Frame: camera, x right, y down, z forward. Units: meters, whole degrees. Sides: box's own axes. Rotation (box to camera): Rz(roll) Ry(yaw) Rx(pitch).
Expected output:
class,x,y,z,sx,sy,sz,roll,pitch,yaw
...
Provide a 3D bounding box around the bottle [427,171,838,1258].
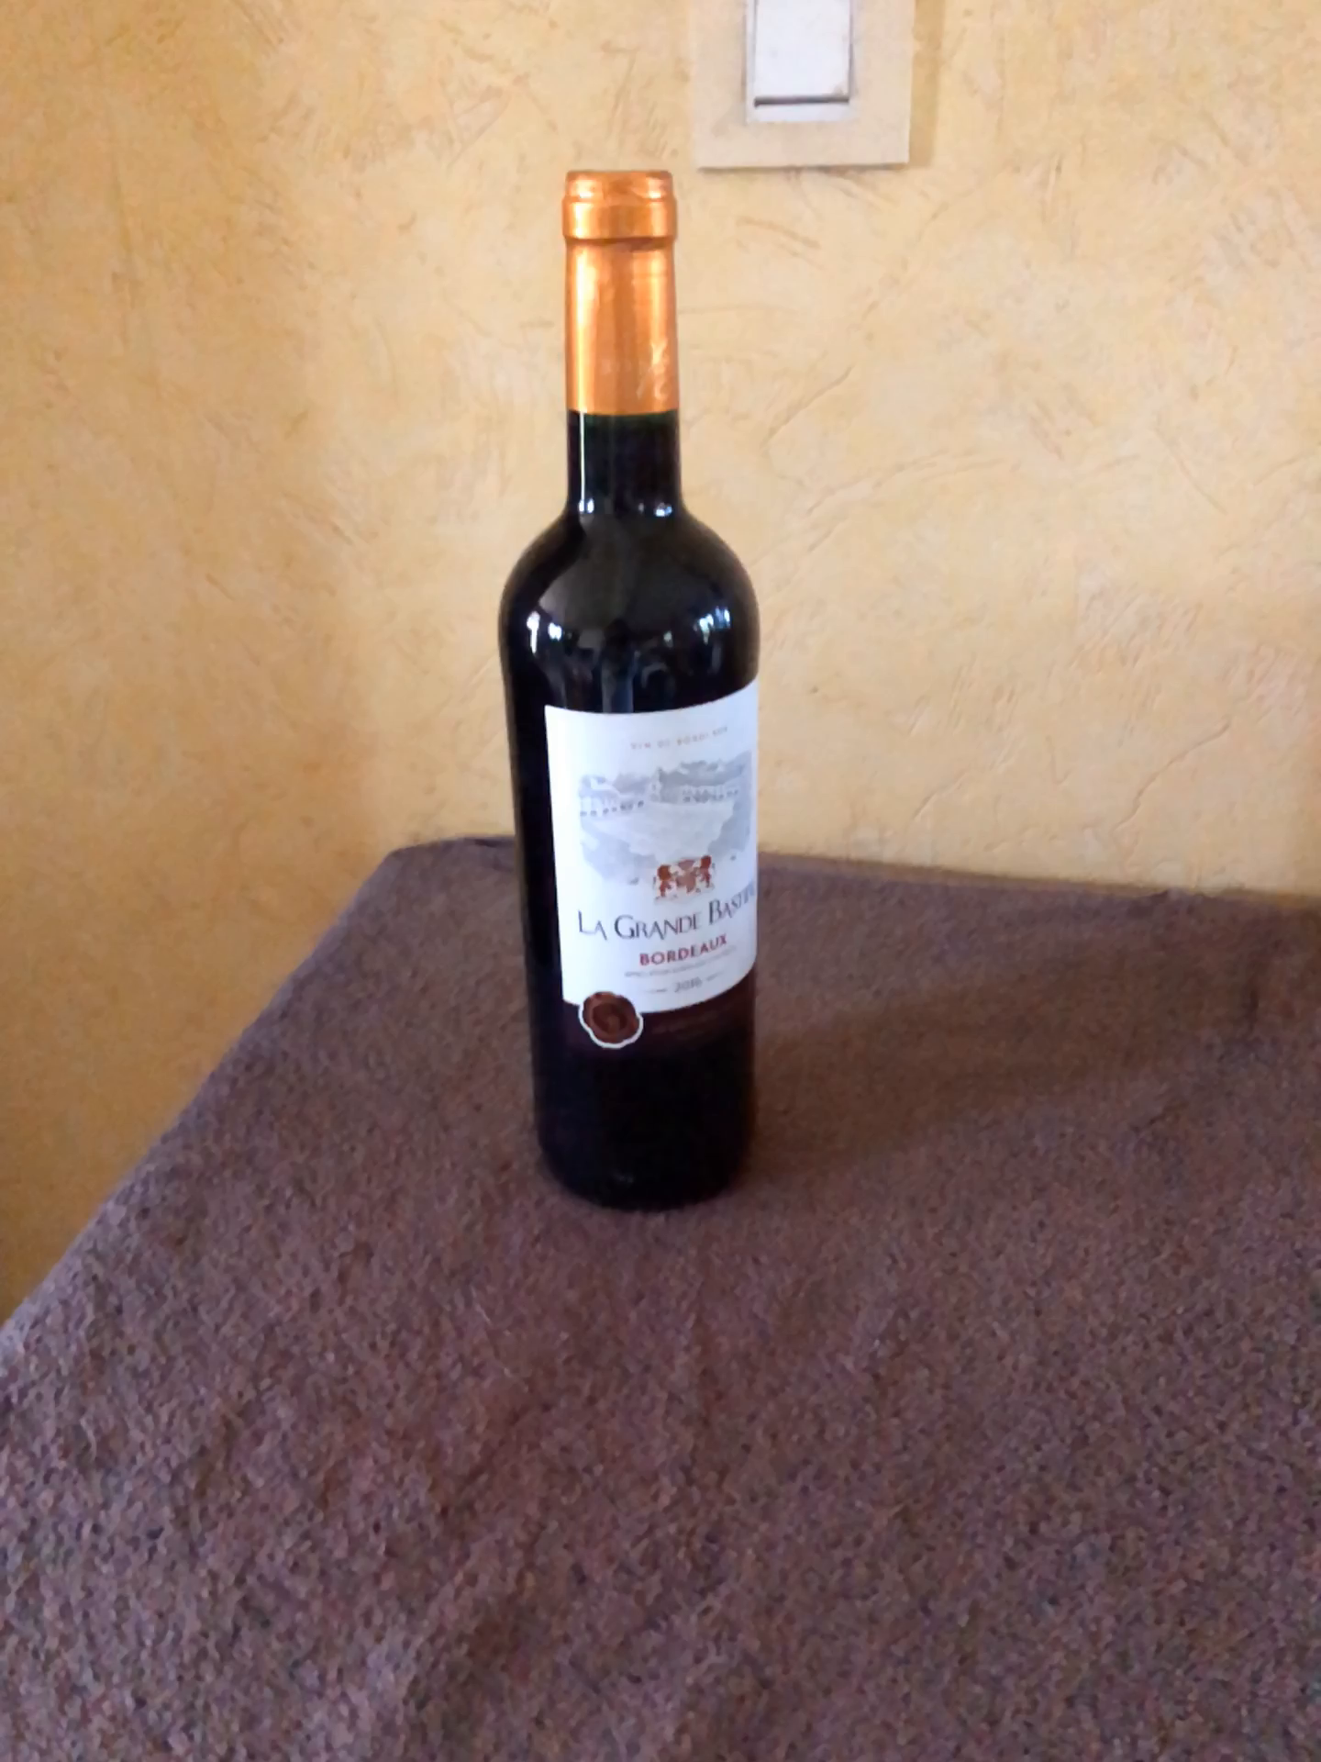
class,x,y,z,sx,sy,sz,roll,pitch,yaw
bottle,-0.005,-0.041,0.430,0.080,0.298,0.080,-2,26,1
